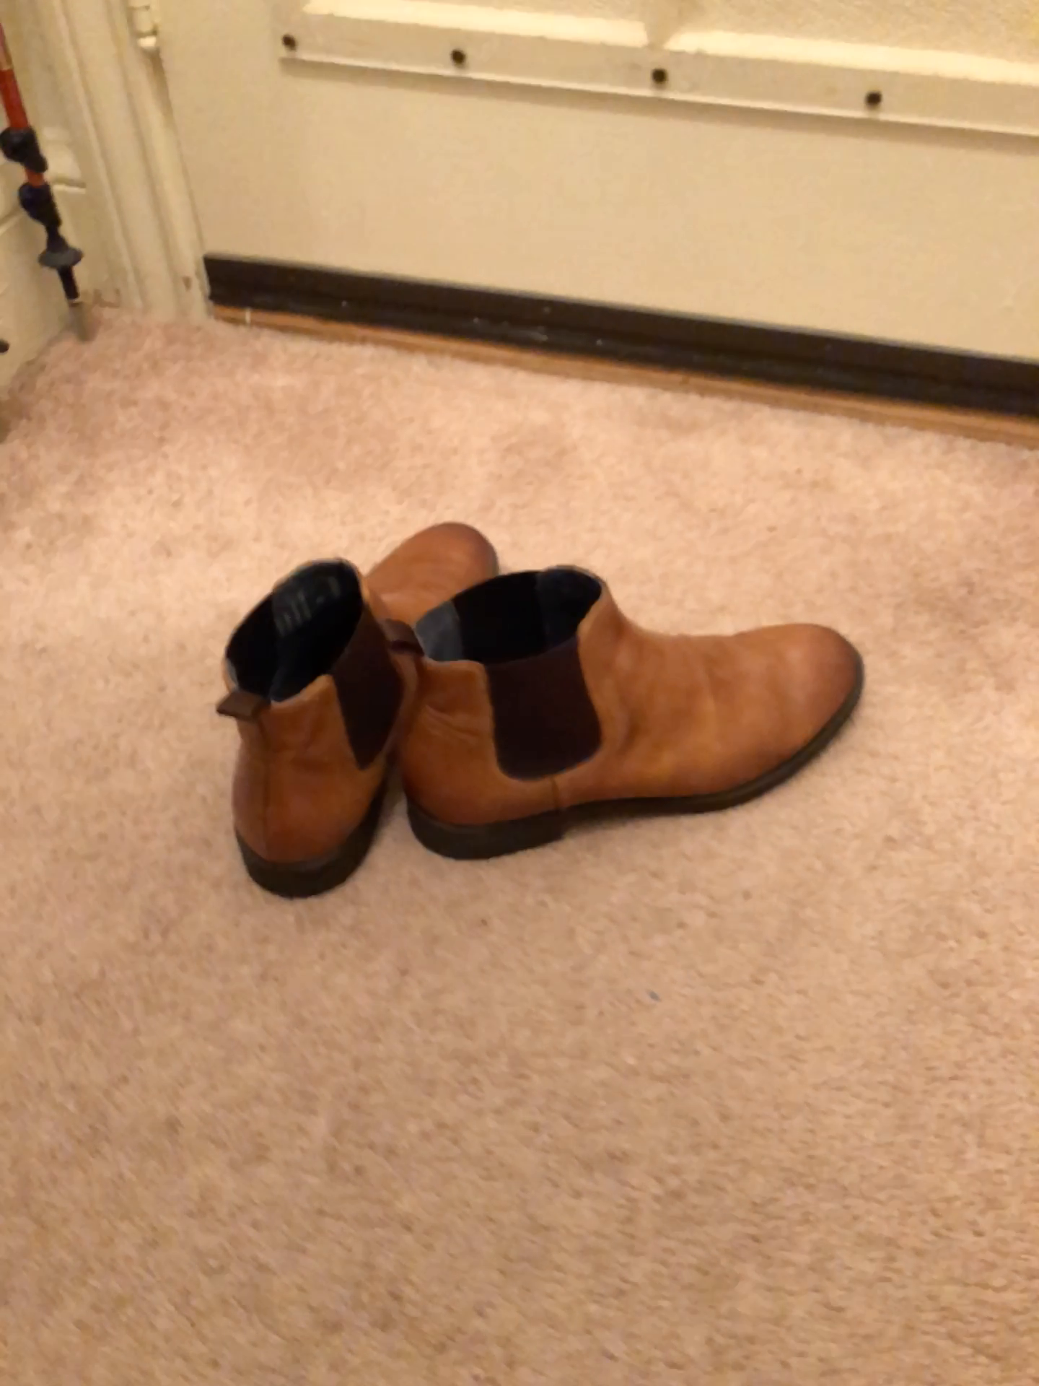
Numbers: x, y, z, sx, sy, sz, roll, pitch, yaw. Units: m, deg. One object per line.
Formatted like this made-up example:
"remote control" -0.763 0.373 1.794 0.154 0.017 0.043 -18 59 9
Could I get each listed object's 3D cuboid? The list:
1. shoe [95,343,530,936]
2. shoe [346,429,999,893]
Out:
"shoe" -0.095 -0.045 0.687 0.109 0.165 0.313 14 49 13
"shoe" 0.077 -0.019 0.649 0.312 0.165 0.109 -14 49 -12
